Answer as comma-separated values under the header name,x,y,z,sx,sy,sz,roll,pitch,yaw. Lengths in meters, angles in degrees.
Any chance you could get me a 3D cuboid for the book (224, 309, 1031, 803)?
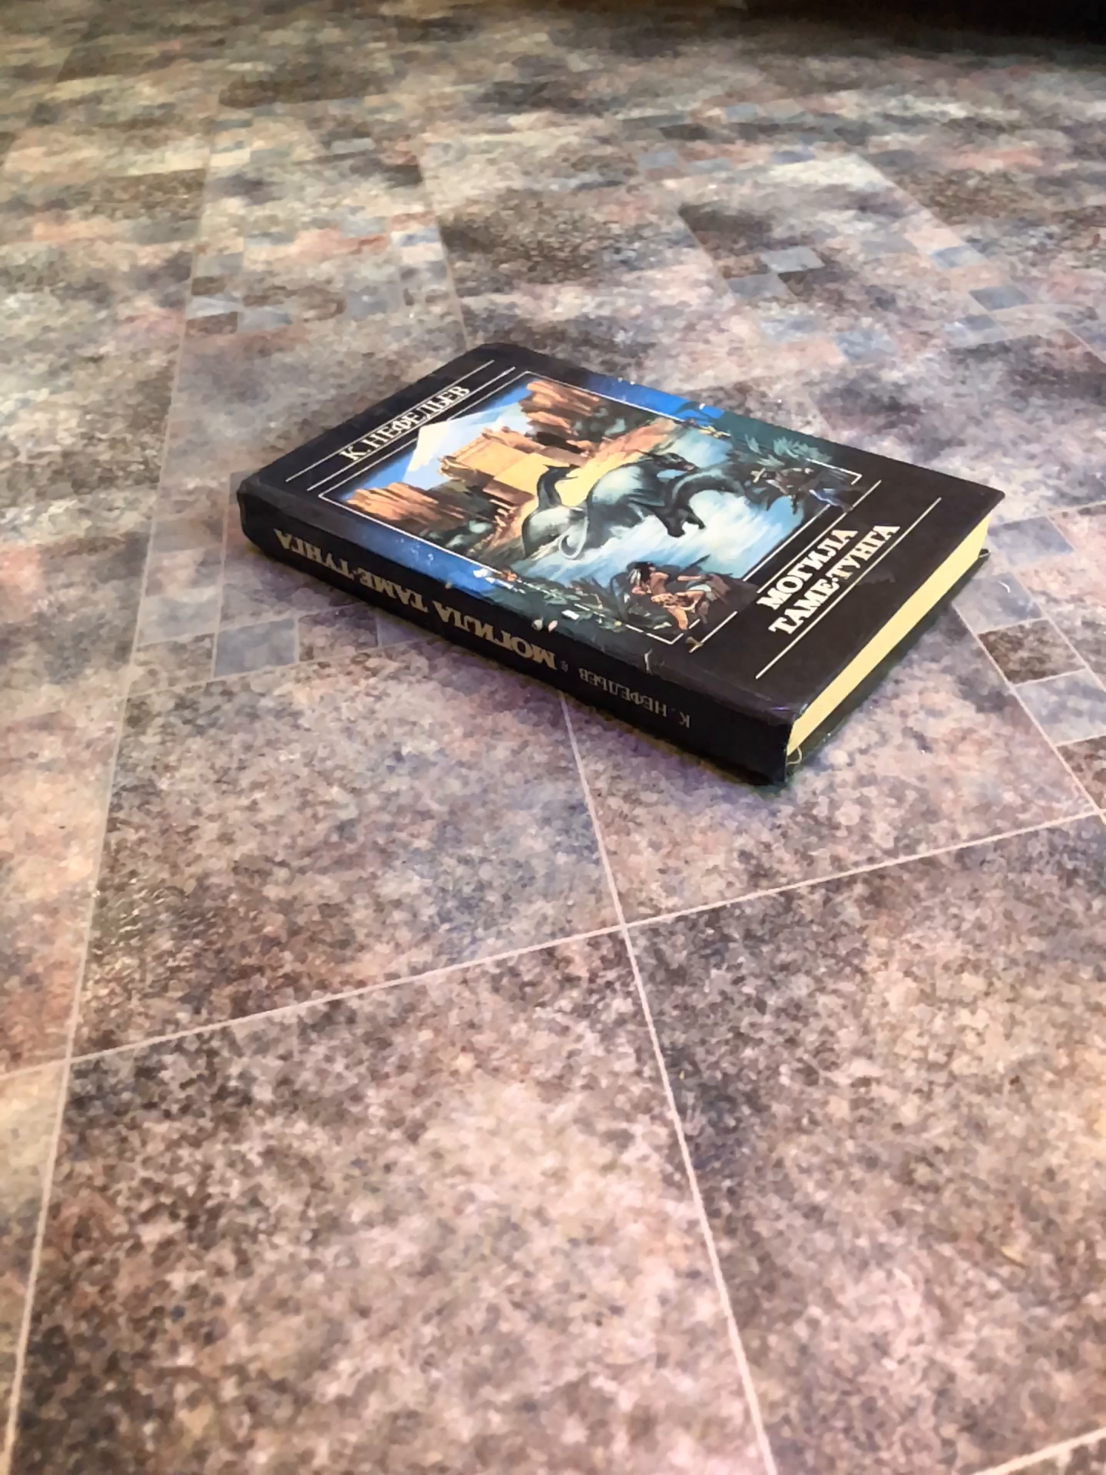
name,x,y,z,sx,sy,sz,roll,pitch,yaw
book,0.020,-0.072,0.382,0.202,0.030,0.139,27,49,29
